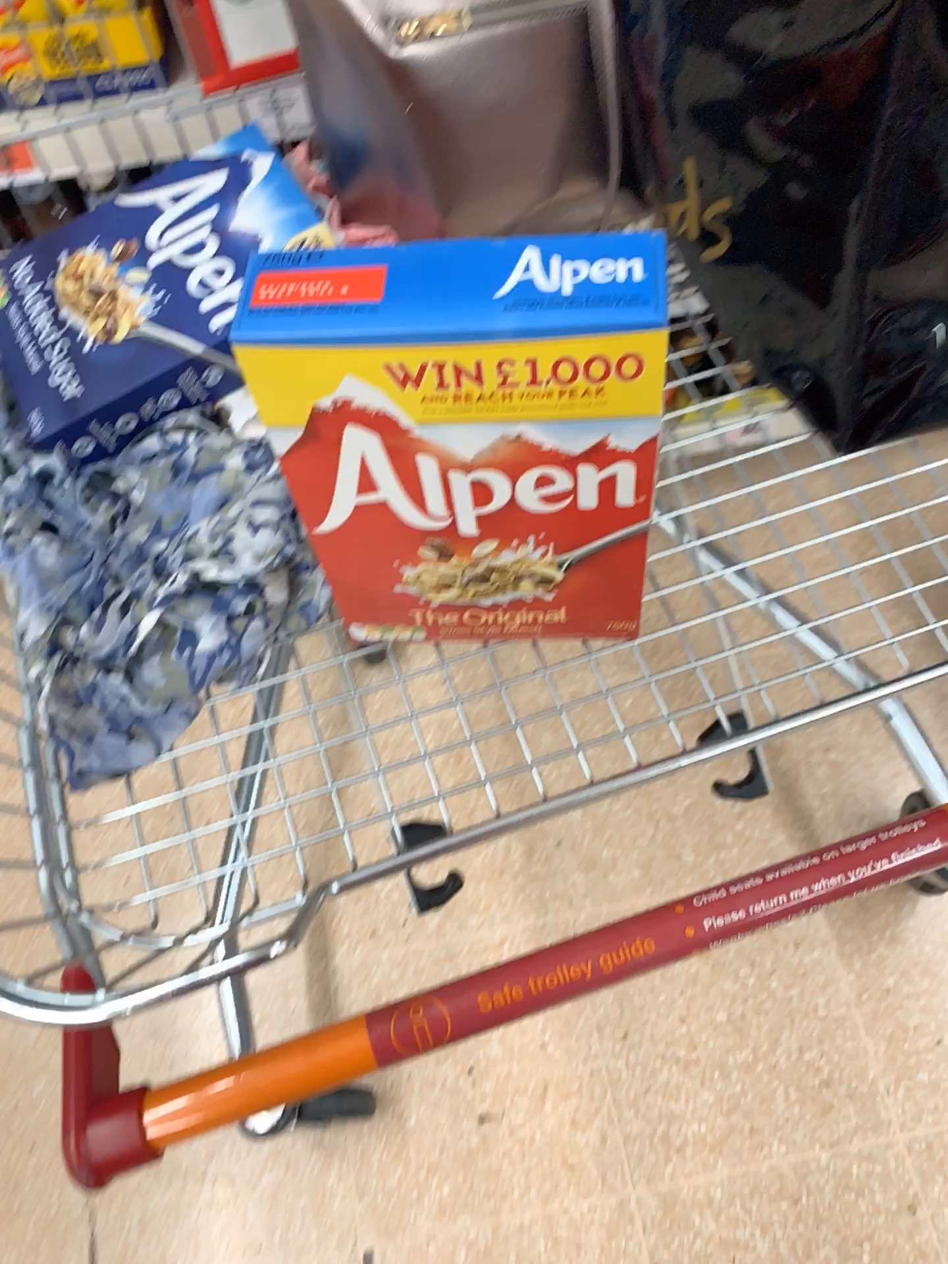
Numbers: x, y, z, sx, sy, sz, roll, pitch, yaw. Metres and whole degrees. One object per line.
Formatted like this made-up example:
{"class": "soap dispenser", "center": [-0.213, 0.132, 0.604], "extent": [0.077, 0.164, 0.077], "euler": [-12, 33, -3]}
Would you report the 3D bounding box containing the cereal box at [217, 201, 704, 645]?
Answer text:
{"class": "cereal box", "center": [0.002, -0.081, 0.481], "extent": [0.180, 0.248, 0.060], "euler": [-1, 61, 4]}
